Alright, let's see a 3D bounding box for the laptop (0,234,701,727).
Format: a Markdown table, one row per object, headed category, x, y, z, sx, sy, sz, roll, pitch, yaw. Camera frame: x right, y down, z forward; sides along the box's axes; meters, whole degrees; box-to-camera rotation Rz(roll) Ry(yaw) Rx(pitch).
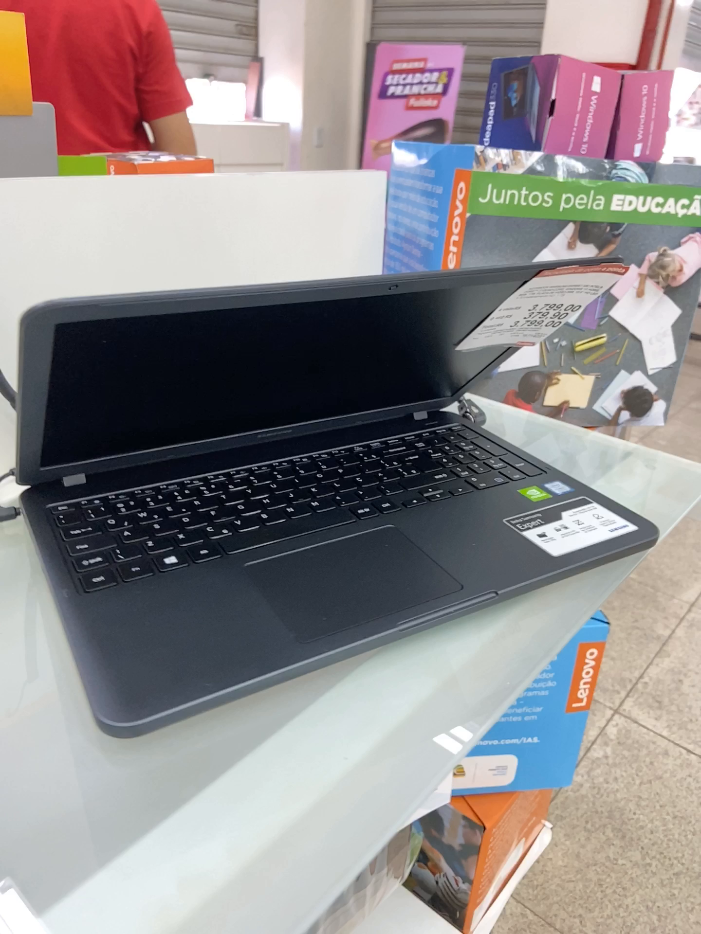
| category | x | y | z | sx | sy | sz | roll | pitch | yaw |
| --- | --- | --- | --- | --- | --- | --- | --- | --- | --- |
| laptop | -0.003 | -0.041 | 0.452 | 0.358 | 0.158 | 0.232 | -12 | 30 | -29 |
